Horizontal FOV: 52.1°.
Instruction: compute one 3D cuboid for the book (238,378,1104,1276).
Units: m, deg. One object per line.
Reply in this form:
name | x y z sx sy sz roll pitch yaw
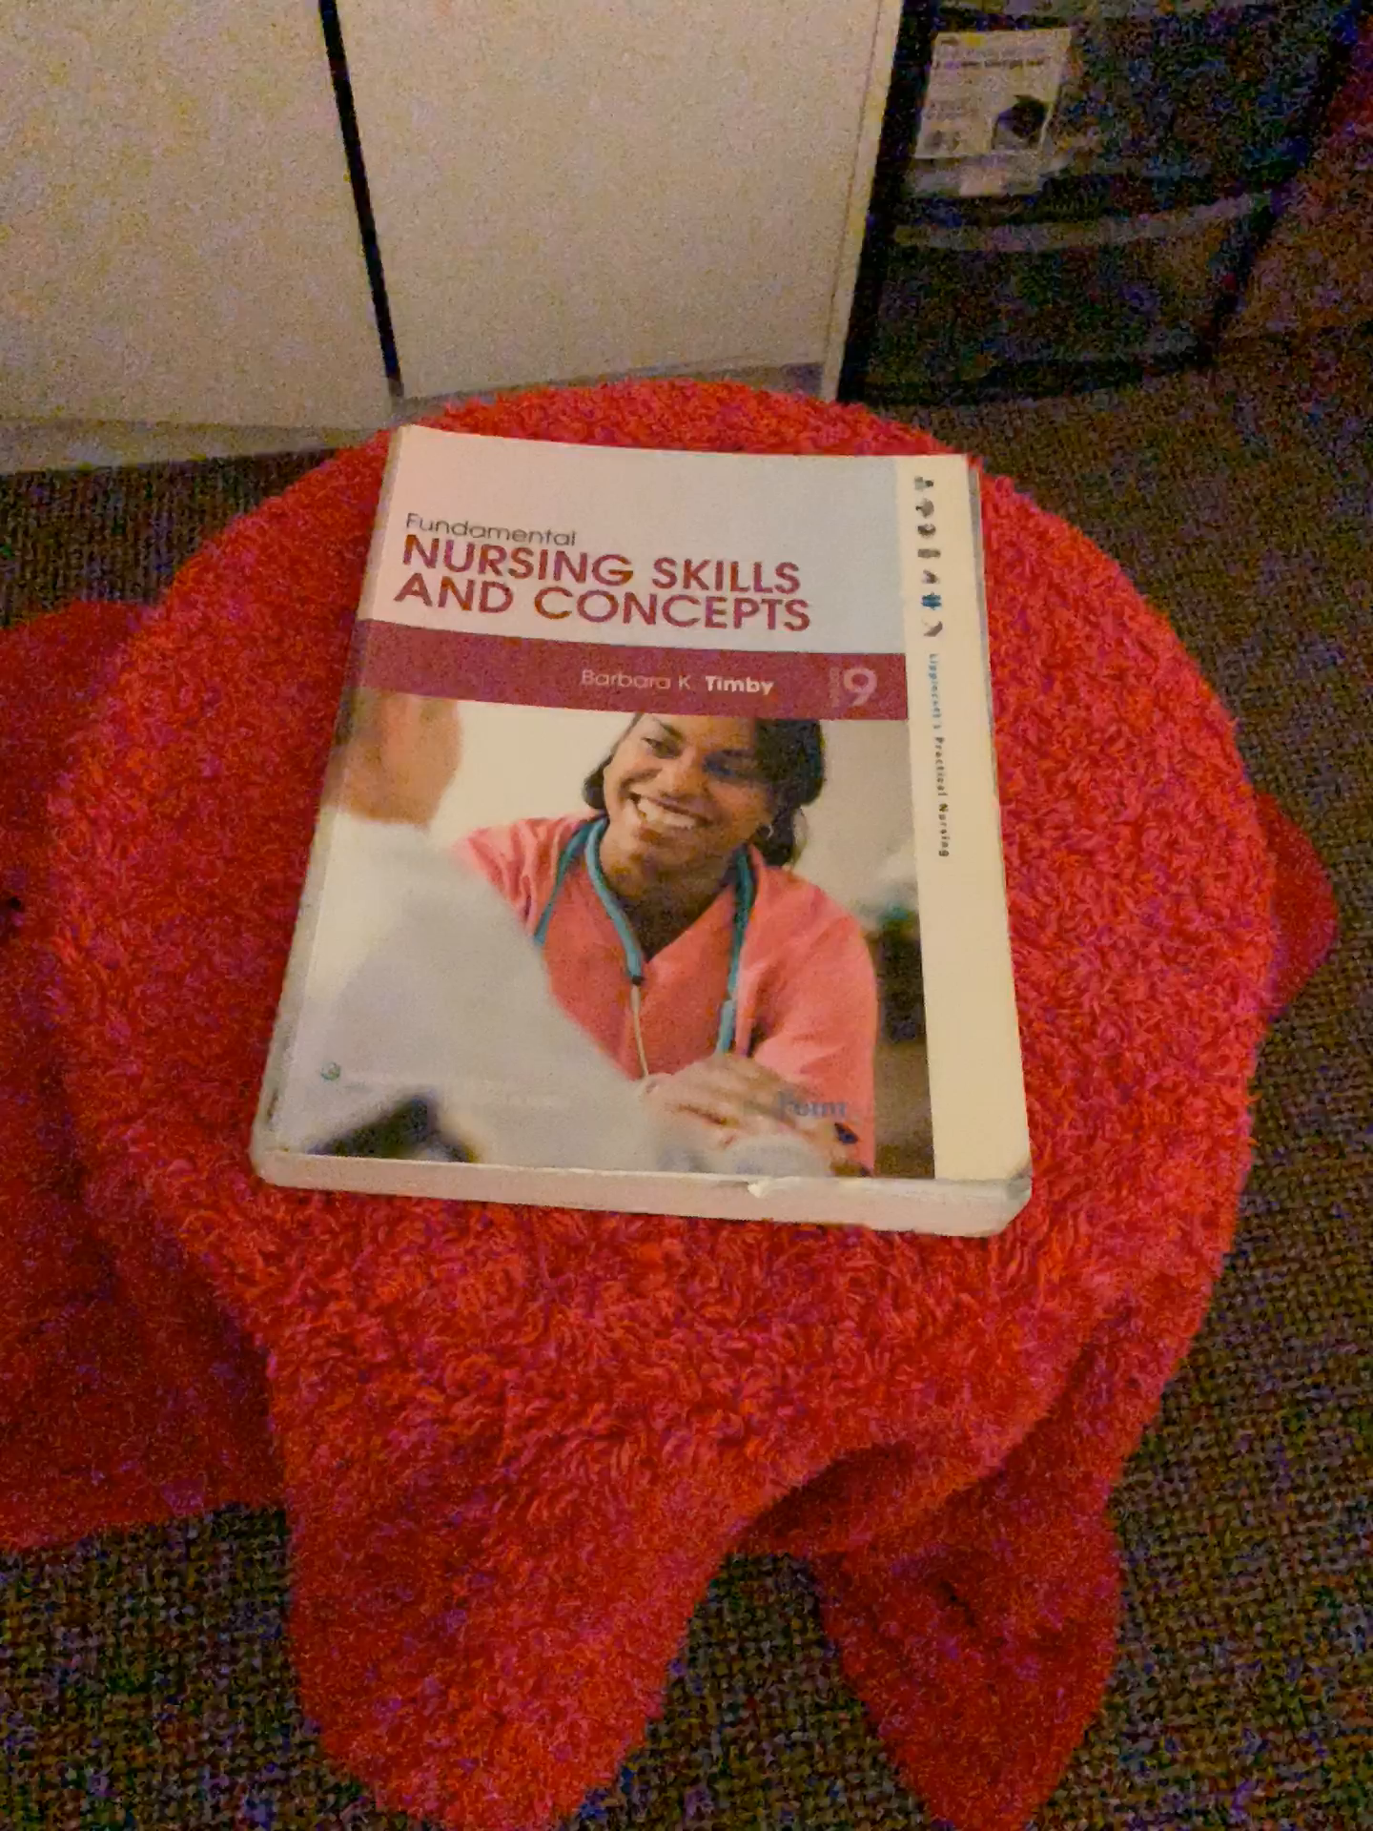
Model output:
book | 0.003 -0.044 0.477 0.230 0.070 0.302 3 61 0
